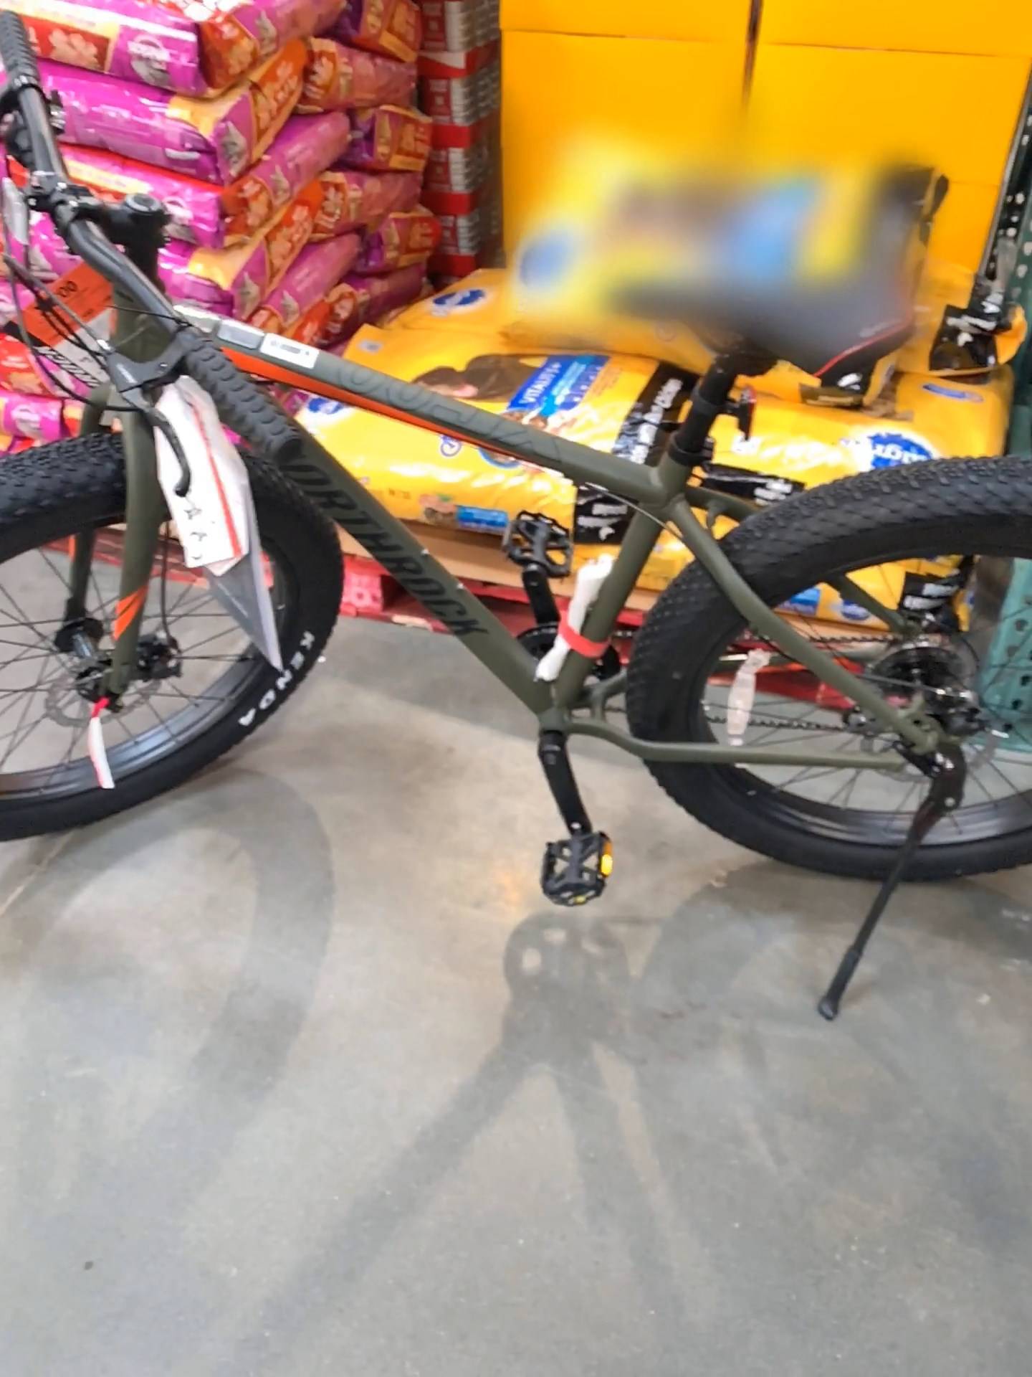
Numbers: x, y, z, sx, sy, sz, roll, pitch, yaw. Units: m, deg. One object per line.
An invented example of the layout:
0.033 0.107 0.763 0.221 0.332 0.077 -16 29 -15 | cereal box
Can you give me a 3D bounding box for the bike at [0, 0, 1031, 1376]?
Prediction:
0.125 -0.027 0.952 1.712 1.203 0.594 -2 38 -14 | bike
